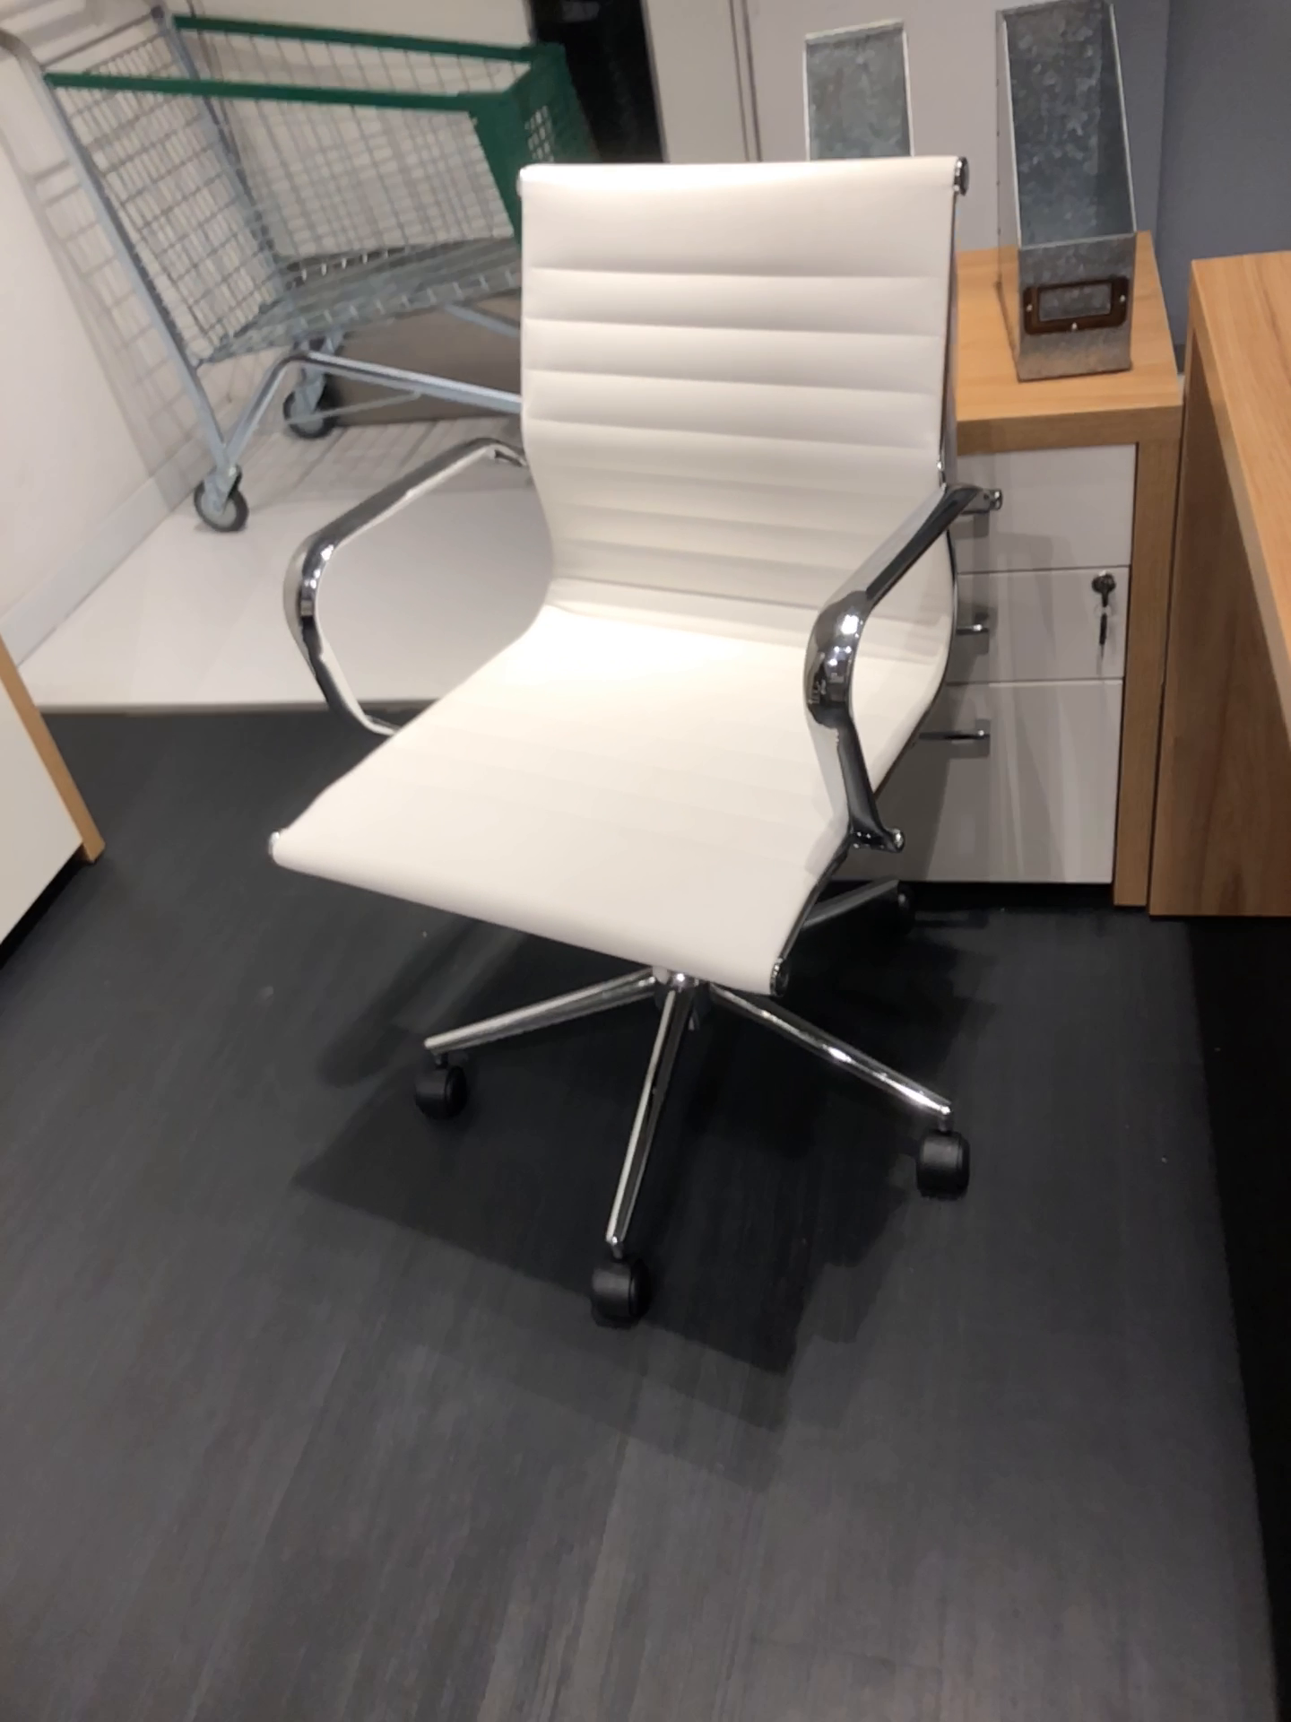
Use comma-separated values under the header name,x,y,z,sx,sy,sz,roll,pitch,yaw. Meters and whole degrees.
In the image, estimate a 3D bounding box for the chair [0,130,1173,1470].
name,x,y,z,sx,sy,sz,roll,pitch,yaw
chair,0.058,-0.102,1.435,0.651,0.953,0.764,14,45,30
